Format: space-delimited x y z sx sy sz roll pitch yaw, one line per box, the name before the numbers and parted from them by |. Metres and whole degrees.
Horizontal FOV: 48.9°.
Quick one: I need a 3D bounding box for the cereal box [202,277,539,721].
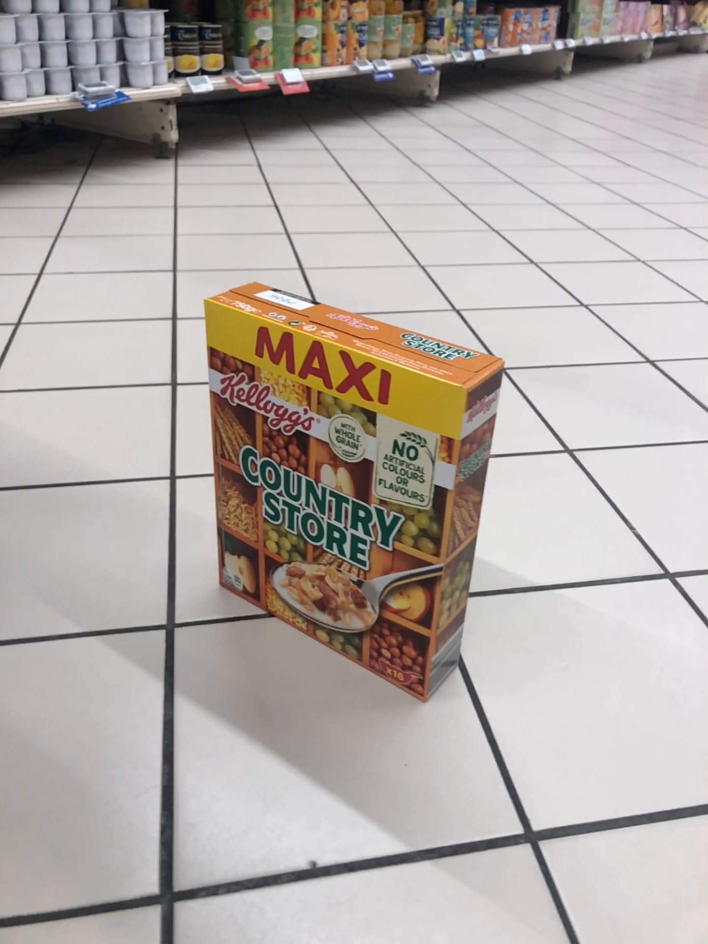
cereal box | -0.001 0.016 0.520 0.200 0.239 0.060 23 37 29
